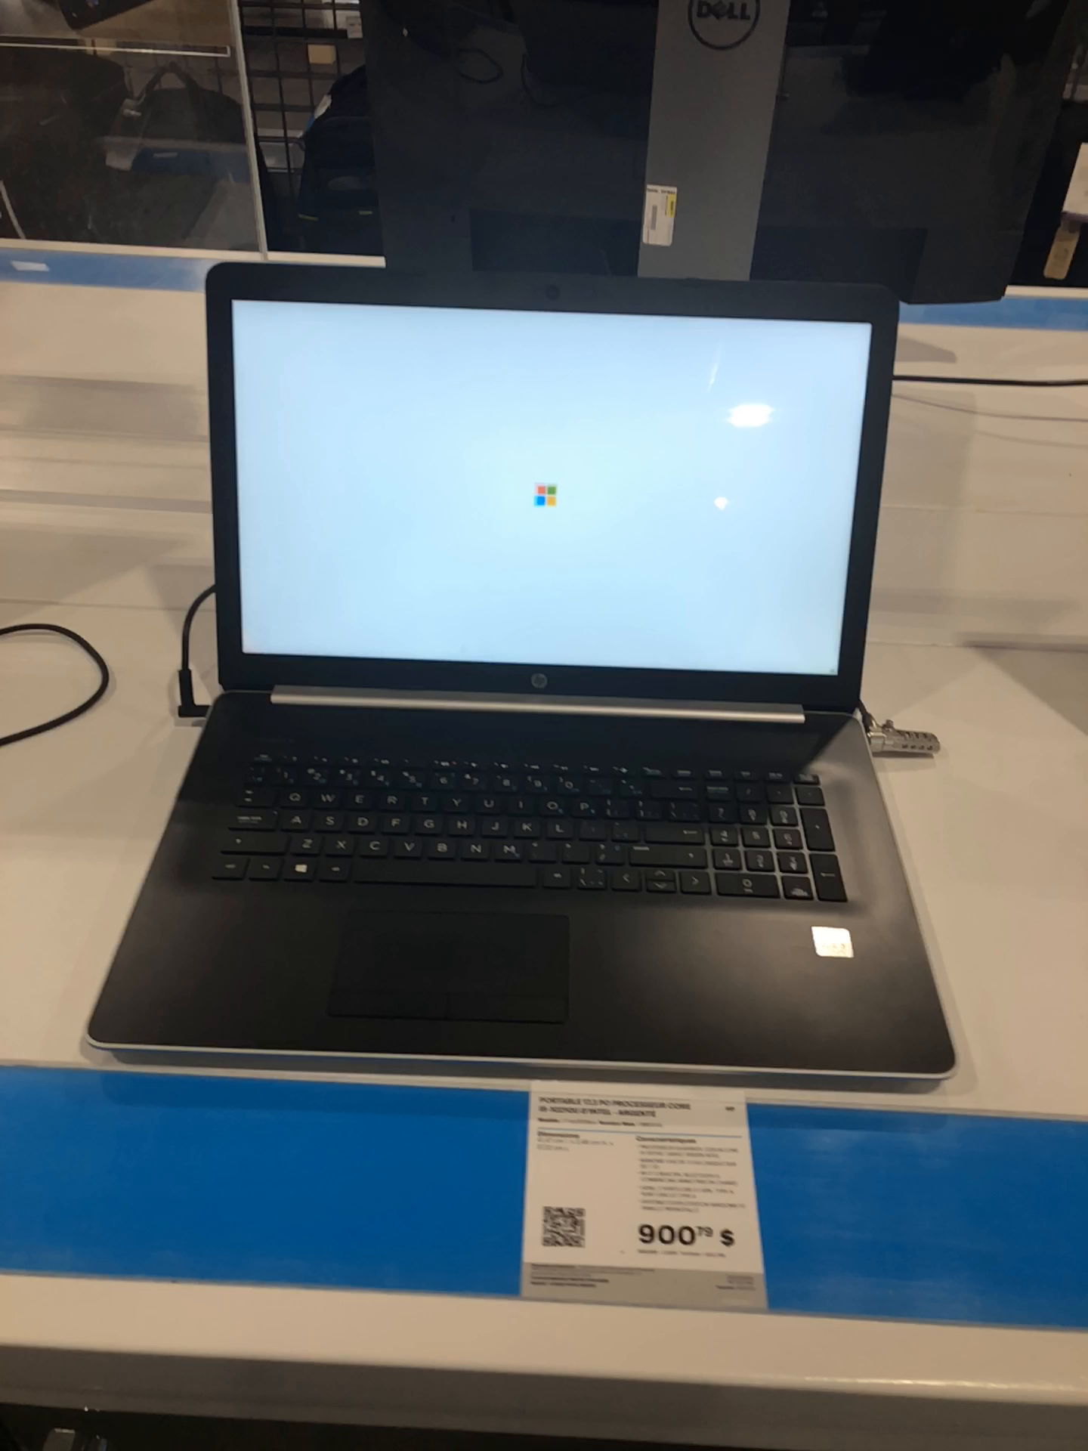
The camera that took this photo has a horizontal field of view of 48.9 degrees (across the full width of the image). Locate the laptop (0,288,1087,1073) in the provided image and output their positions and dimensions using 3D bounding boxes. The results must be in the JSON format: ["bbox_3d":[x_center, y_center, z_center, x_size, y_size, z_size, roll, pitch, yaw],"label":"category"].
[{"bbox_3d":[-0.006,-0.051,0.650,0.410,0.242,0.382,2,37,0],"label":"laptop"}]
